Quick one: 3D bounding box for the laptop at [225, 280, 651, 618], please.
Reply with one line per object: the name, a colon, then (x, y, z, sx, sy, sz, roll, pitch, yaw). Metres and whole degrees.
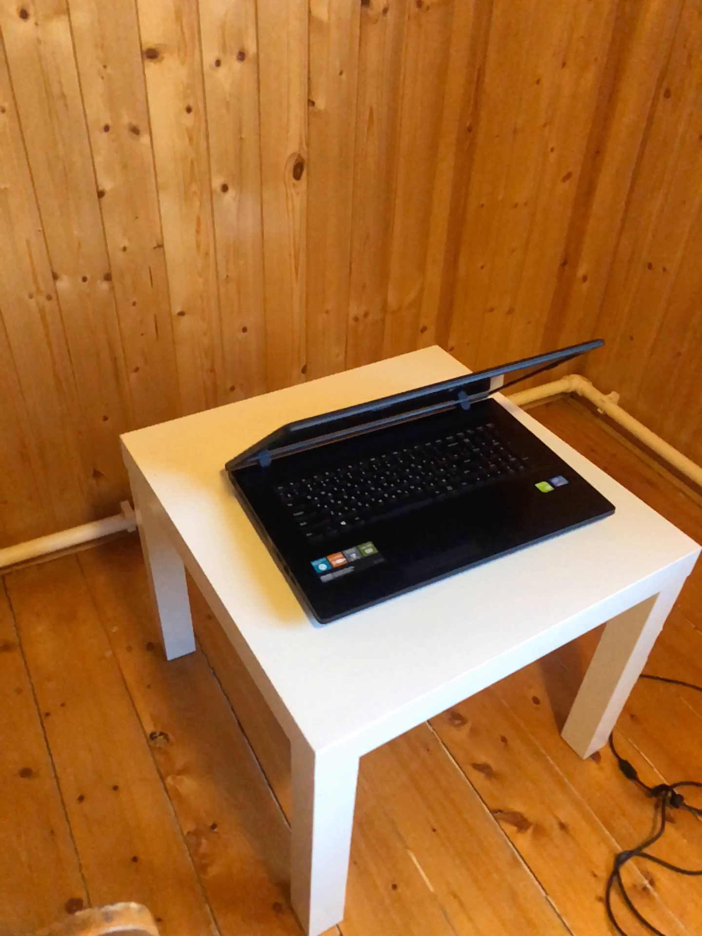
laptop: (0.092, -0.047, 0.890, 0.402, 0.183, 0.252, -17, 44, -25)
